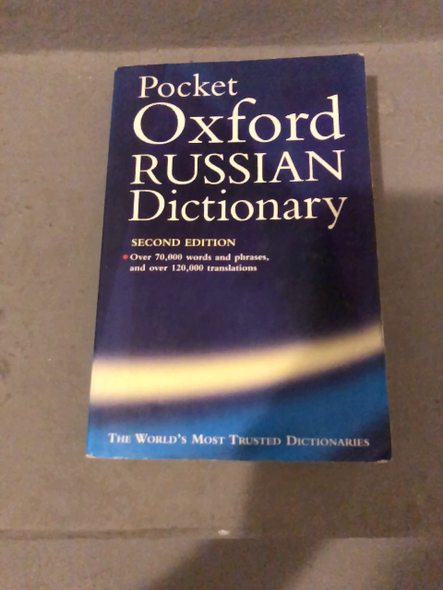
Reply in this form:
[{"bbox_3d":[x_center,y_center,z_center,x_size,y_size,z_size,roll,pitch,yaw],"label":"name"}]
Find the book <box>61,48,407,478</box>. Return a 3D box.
[{"bbox_3d":[0.007,-0.020,0.234,0.137,0.032,0.195,0,76,6],"label":"book"}]
